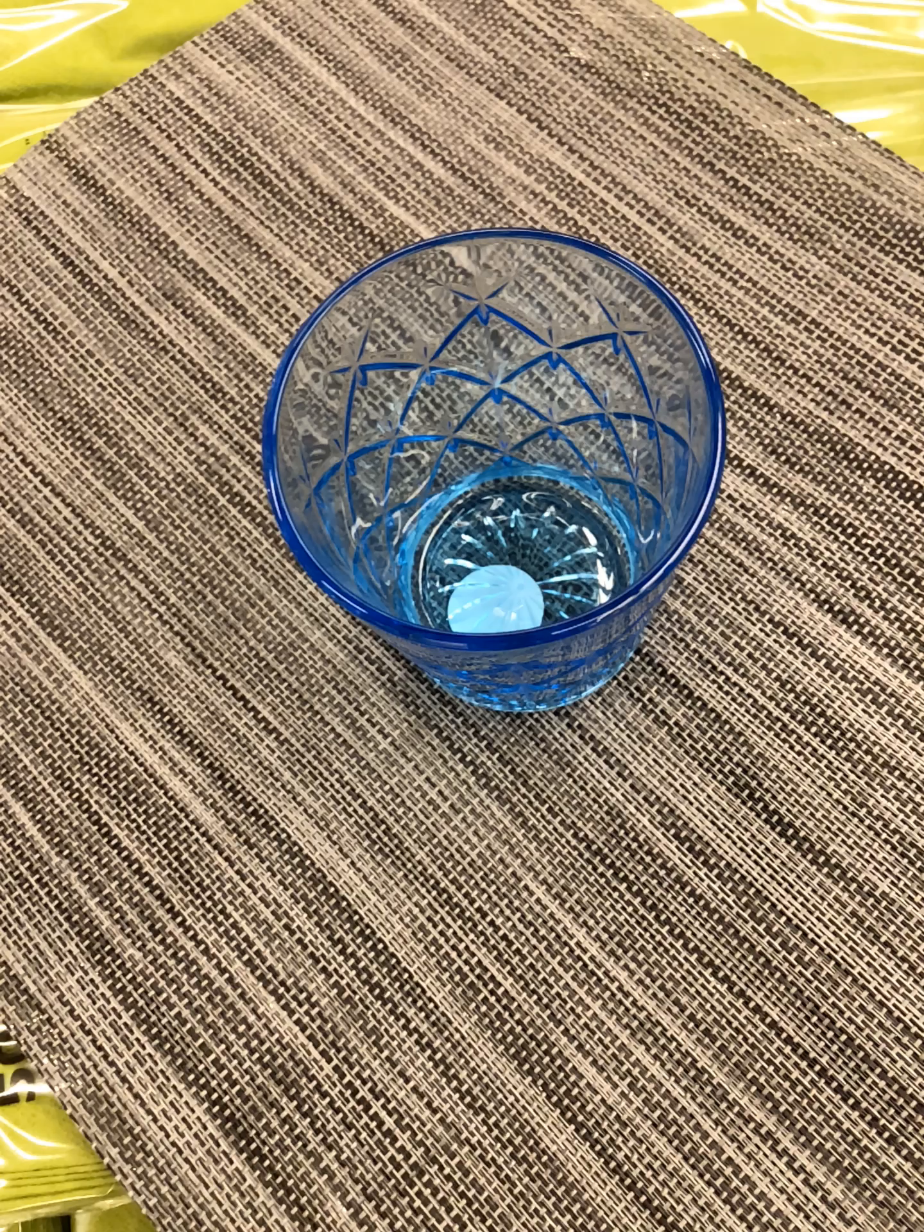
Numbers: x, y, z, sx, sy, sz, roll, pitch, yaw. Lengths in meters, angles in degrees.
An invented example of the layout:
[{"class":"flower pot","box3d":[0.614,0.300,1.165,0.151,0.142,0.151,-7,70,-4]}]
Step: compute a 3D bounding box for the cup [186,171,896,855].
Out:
[{"class":"cup","box3d":[0.013,-0.012,0.211,0.090,0.090,0.080,-24,70,-3]}]
